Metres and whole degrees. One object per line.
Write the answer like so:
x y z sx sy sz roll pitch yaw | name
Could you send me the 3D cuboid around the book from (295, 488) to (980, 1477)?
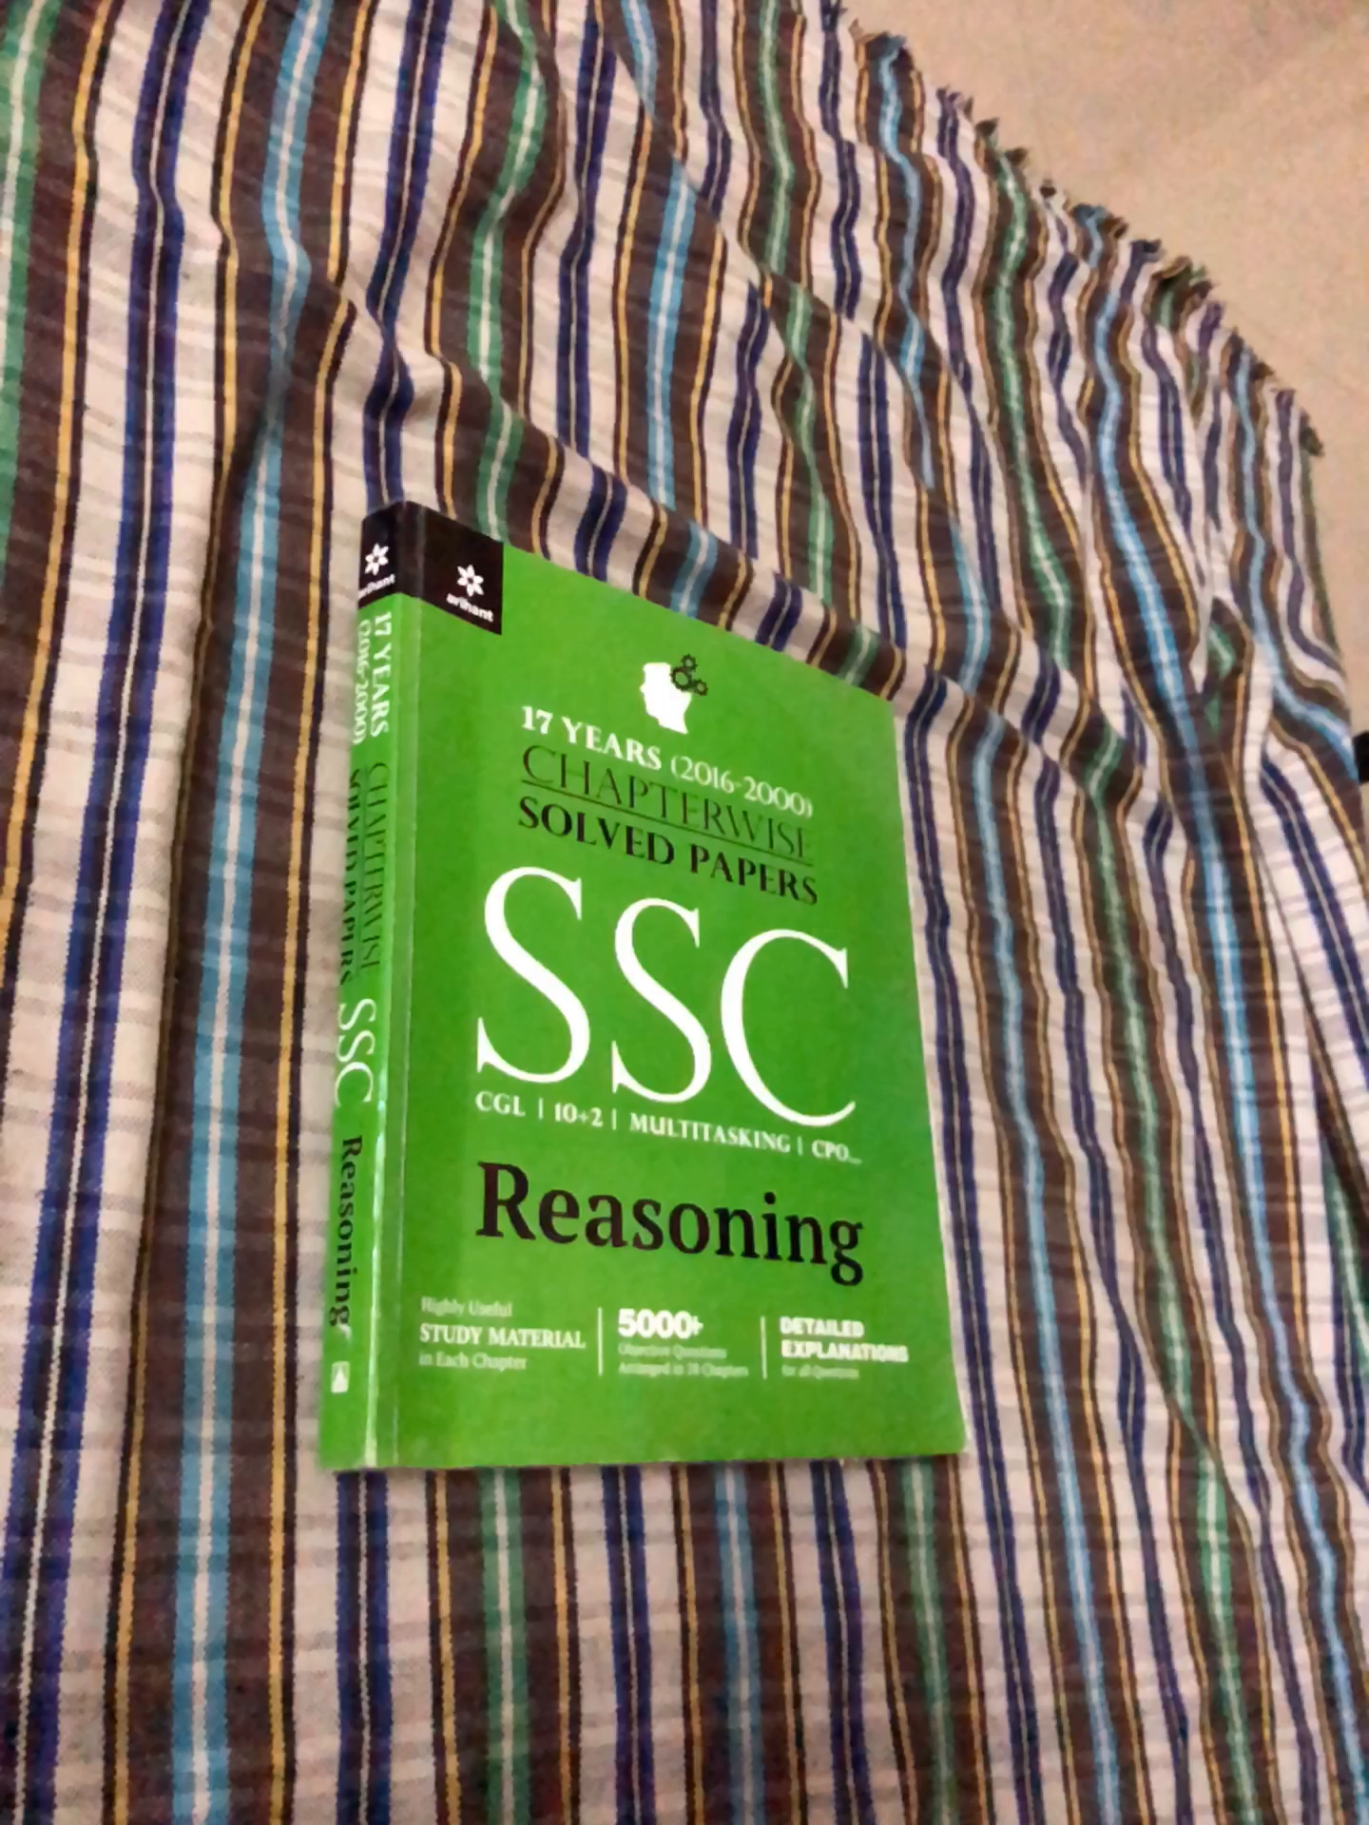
-0.007 0.029 0.474 0.211 0.040 0.270 14 63 -37 | book
